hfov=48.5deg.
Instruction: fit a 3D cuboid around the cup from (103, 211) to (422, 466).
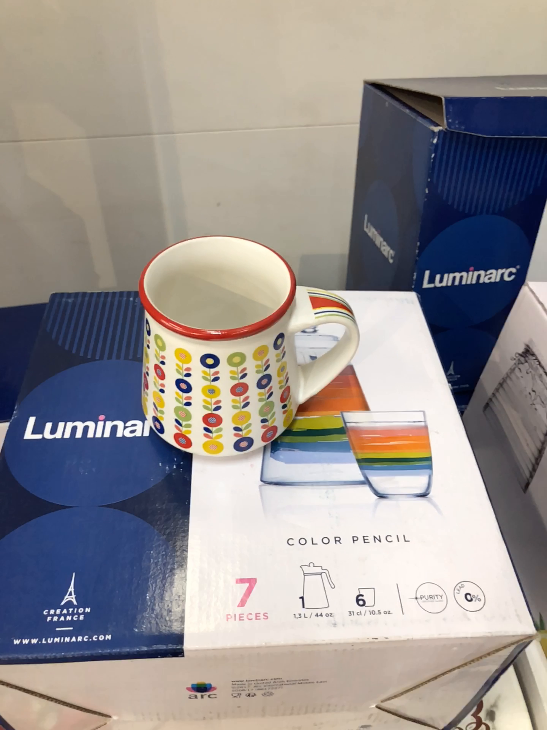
[{"bbox_3d":[-0.007,-0.013,0.307,0.130,0.089,0.081,-4,46,-3],"label":"cup"}]
